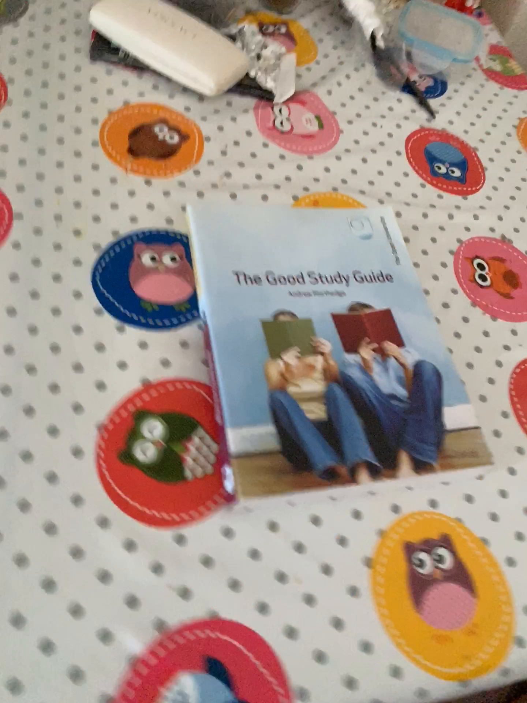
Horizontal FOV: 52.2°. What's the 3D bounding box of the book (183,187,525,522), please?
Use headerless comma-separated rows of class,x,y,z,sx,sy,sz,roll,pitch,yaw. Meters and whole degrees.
book,0.058,-0.017,0.422,0.210,0.030,0.262,-3,62,-17
